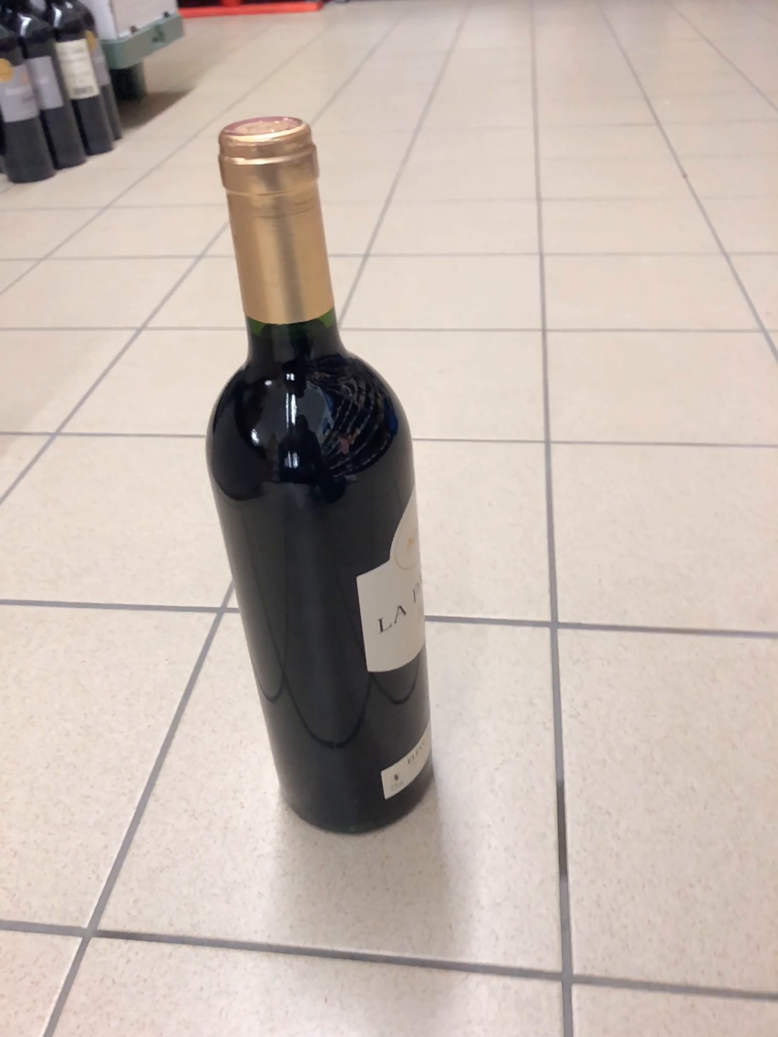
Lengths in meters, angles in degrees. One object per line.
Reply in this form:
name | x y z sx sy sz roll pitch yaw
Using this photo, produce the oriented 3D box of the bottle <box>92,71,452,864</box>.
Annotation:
bottle | -0.023 0.003 0.322 0.080 0.288 0.091 -4 36 0
